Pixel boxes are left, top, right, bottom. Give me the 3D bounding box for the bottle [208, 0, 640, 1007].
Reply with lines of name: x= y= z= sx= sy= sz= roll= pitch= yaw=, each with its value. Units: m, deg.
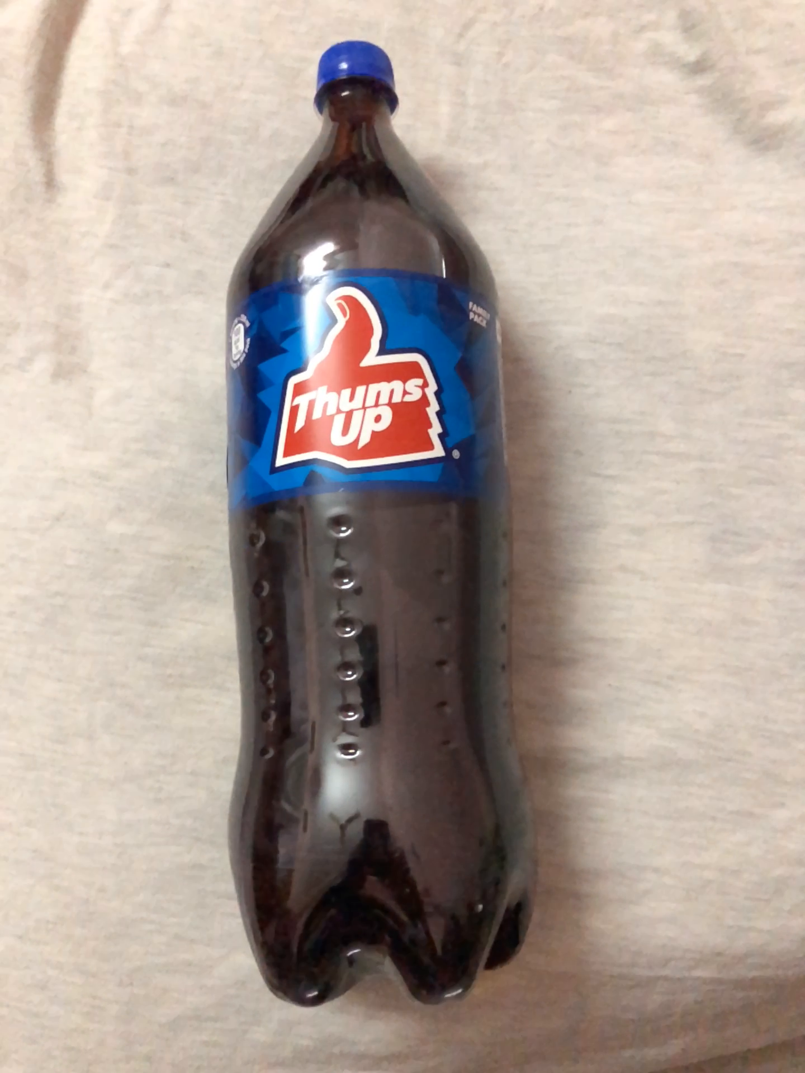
bottle: x=0.001 y=-0.030 z=0.272 sx=0.100 sy=0.060 sz=0.300 roll=-4 pitch=80 yaw=4
